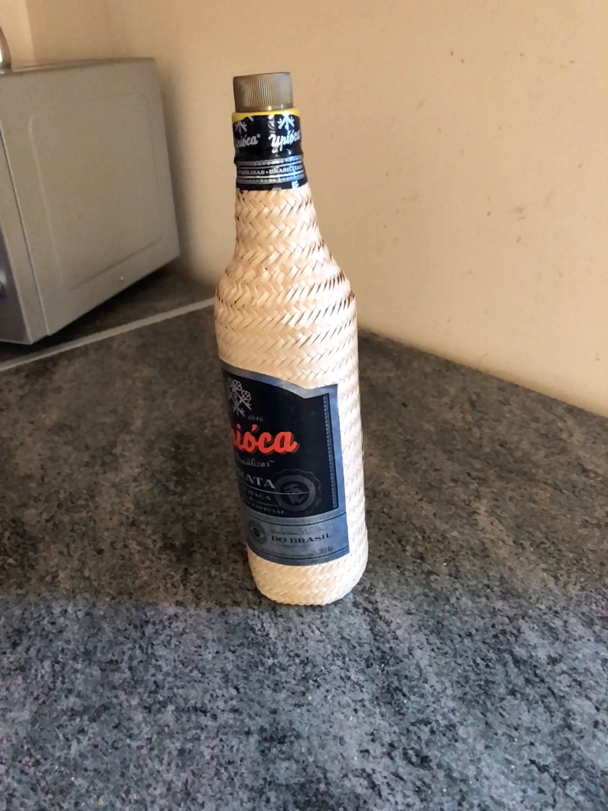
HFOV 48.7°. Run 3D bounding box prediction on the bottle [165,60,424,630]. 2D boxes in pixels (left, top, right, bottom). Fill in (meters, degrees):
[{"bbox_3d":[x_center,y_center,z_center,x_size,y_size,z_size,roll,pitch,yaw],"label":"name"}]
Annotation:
[{"bbox_3d":[-0.004,-0.028,0.372,0.080,0.288,0.090,-20,33,-33],"label":"bottle"}]
